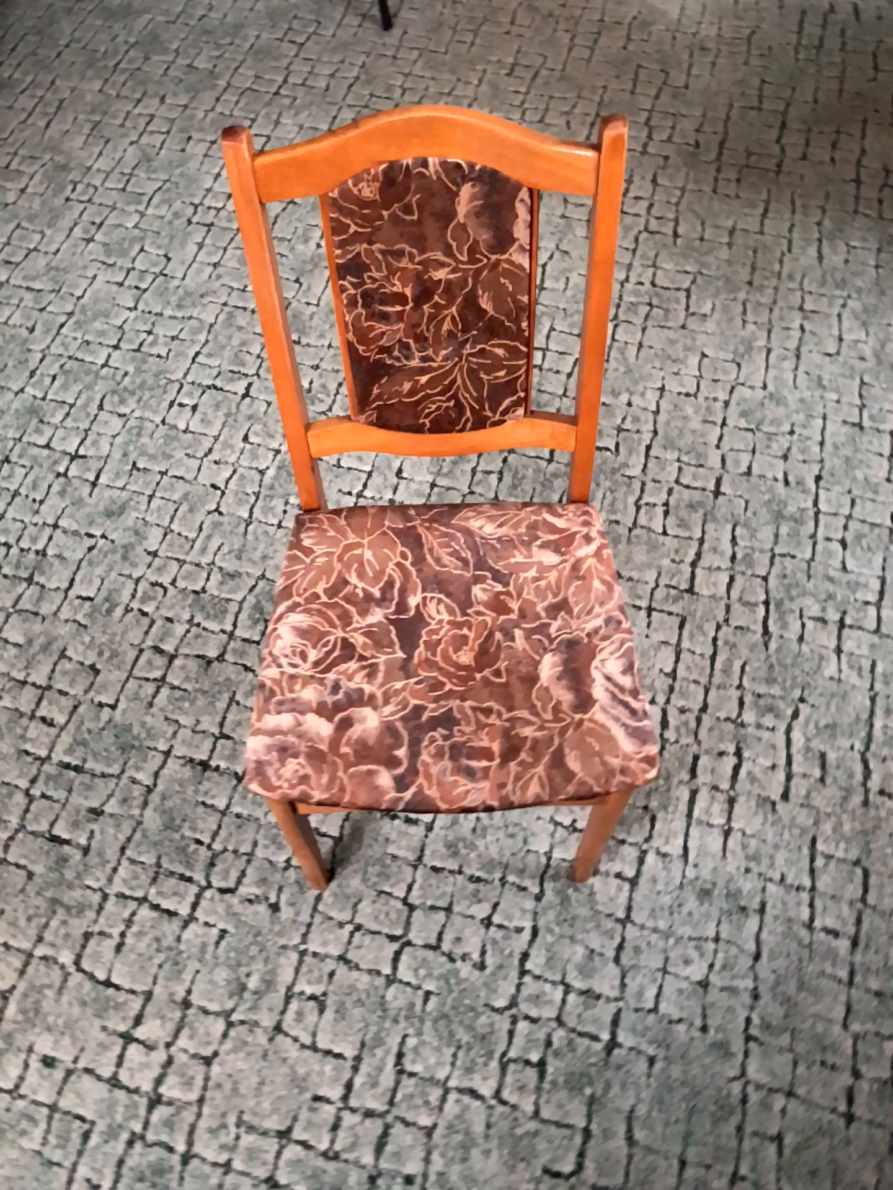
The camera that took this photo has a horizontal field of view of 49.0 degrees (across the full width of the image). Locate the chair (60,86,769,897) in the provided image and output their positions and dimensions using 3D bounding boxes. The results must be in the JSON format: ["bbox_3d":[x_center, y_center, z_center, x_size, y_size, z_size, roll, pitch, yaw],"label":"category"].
[{"bbox_3d":[-0.006,-0.025,1.182,0.480,0.875,0.553,-1,59,2],"label":"chair"}]
